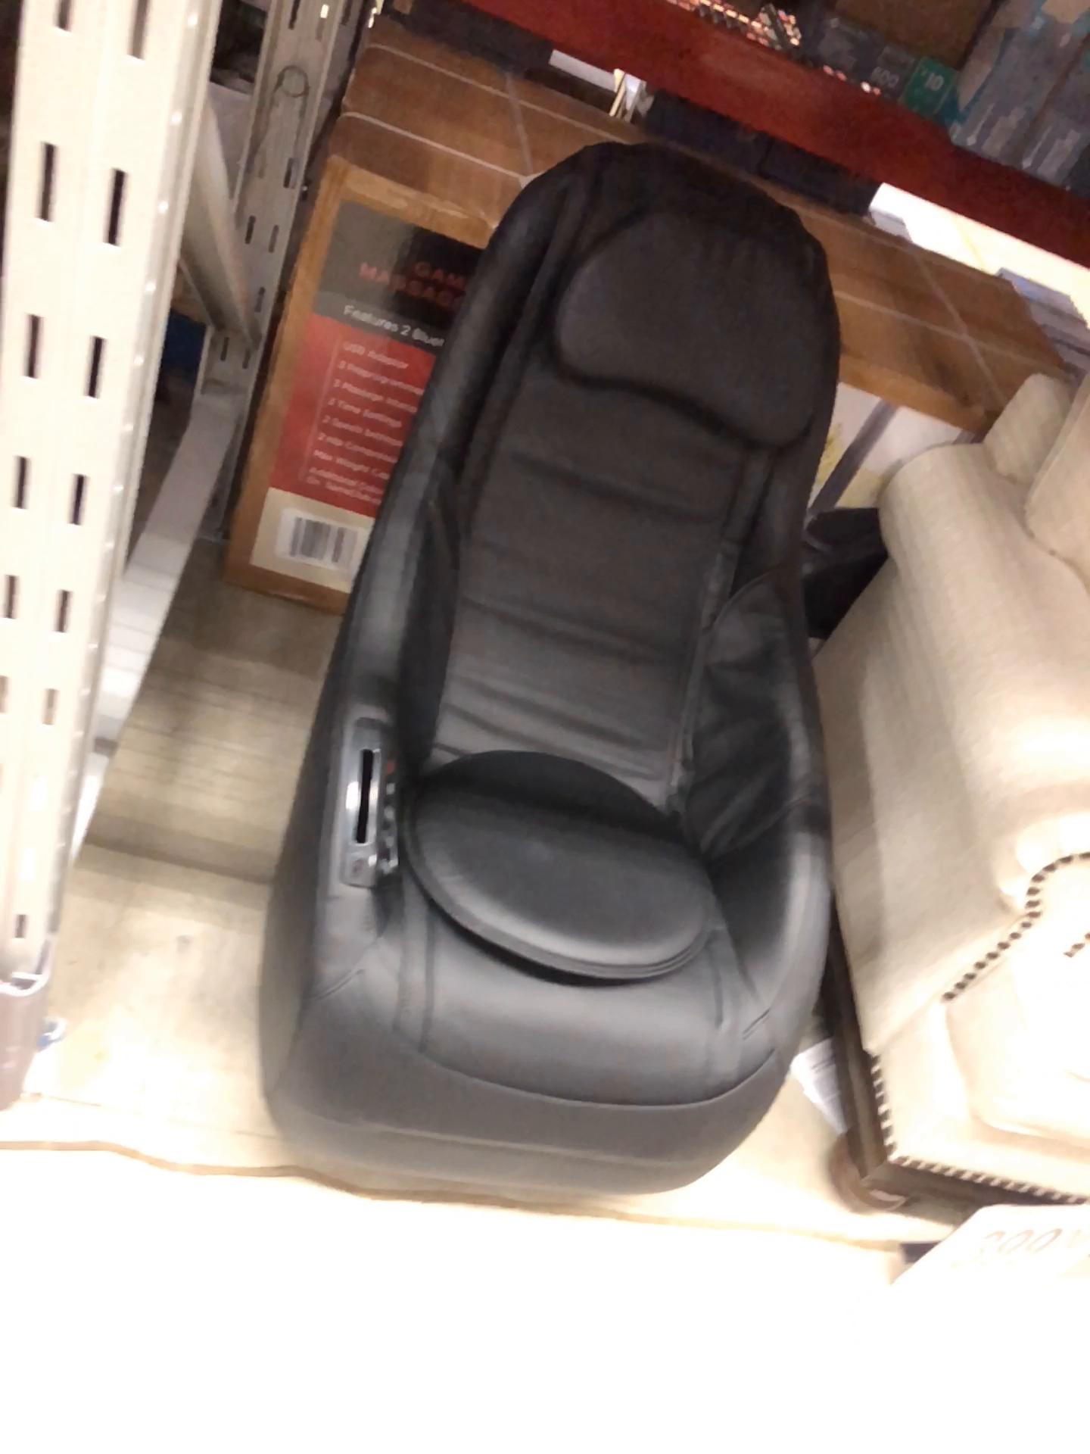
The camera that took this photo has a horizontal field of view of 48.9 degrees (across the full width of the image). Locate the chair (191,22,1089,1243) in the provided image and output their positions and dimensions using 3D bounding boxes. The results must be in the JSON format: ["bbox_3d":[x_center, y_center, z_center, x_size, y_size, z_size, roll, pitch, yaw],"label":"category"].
[{"bbox_3d":[0.098,-0.030,1.201,0.651,0.848,0.701,13,43,-17],"label":"chair"}]
